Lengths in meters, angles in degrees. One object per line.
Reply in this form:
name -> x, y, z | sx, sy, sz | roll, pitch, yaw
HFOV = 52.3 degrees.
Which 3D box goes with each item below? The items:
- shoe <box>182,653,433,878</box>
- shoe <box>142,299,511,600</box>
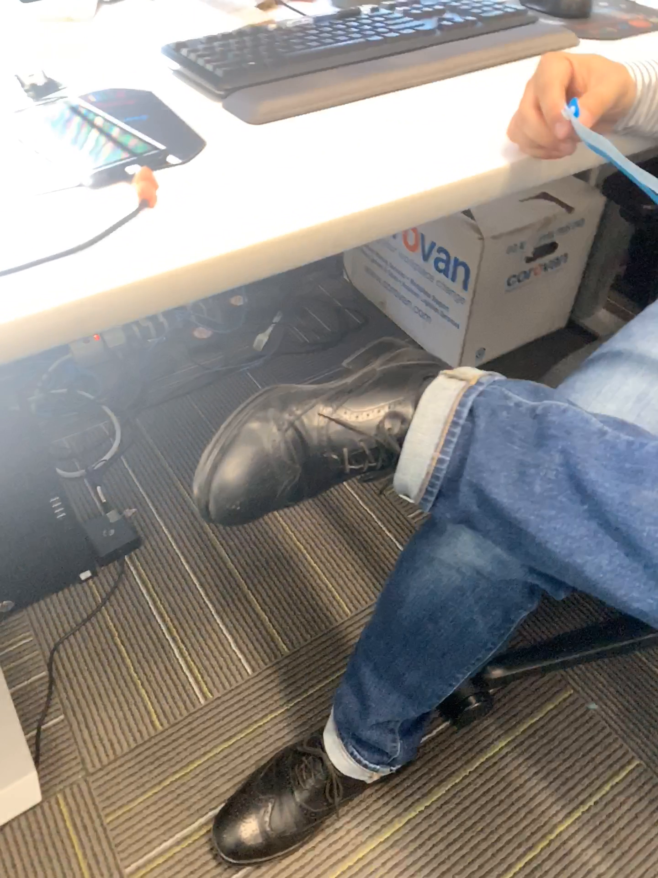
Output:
shoe -> -0.021, 0.399, 0.810 | 0.274, 0.104, 0.112 | -26, 52, -23
shoe -> 0.007, -0.002, 0.542 | 0.274, 0.111, 0.091 | -26, 48, -23
